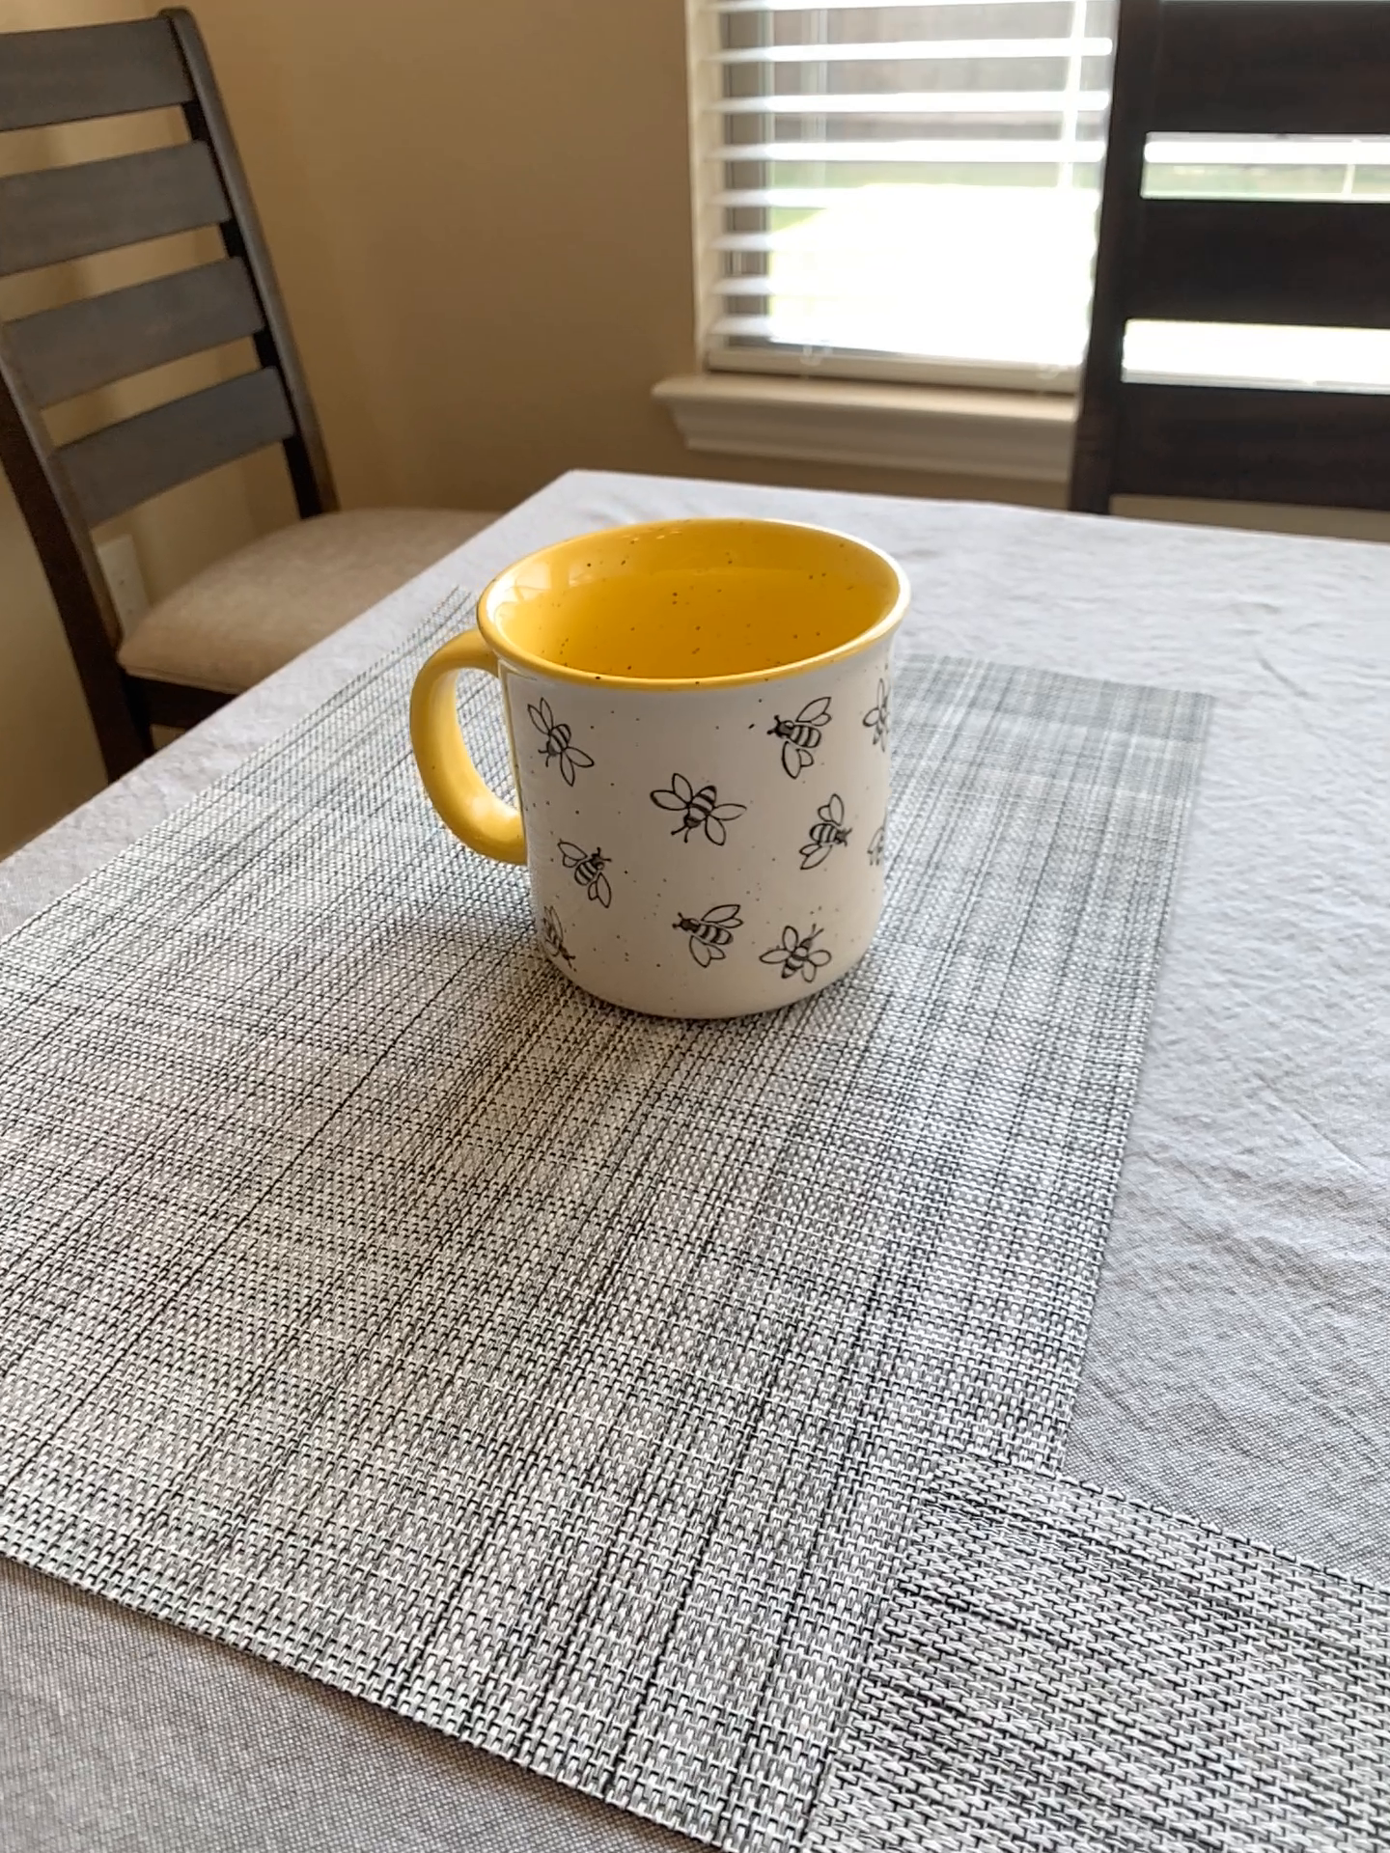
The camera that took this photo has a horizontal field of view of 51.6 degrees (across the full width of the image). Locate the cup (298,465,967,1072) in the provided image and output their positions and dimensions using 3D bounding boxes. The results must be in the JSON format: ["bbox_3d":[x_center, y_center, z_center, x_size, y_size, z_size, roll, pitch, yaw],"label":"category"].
[{"bbox_3d":[-0.010,-0.052,0.400,0.136,0.107,0.114,13,37,21],"label":"cup"}]
